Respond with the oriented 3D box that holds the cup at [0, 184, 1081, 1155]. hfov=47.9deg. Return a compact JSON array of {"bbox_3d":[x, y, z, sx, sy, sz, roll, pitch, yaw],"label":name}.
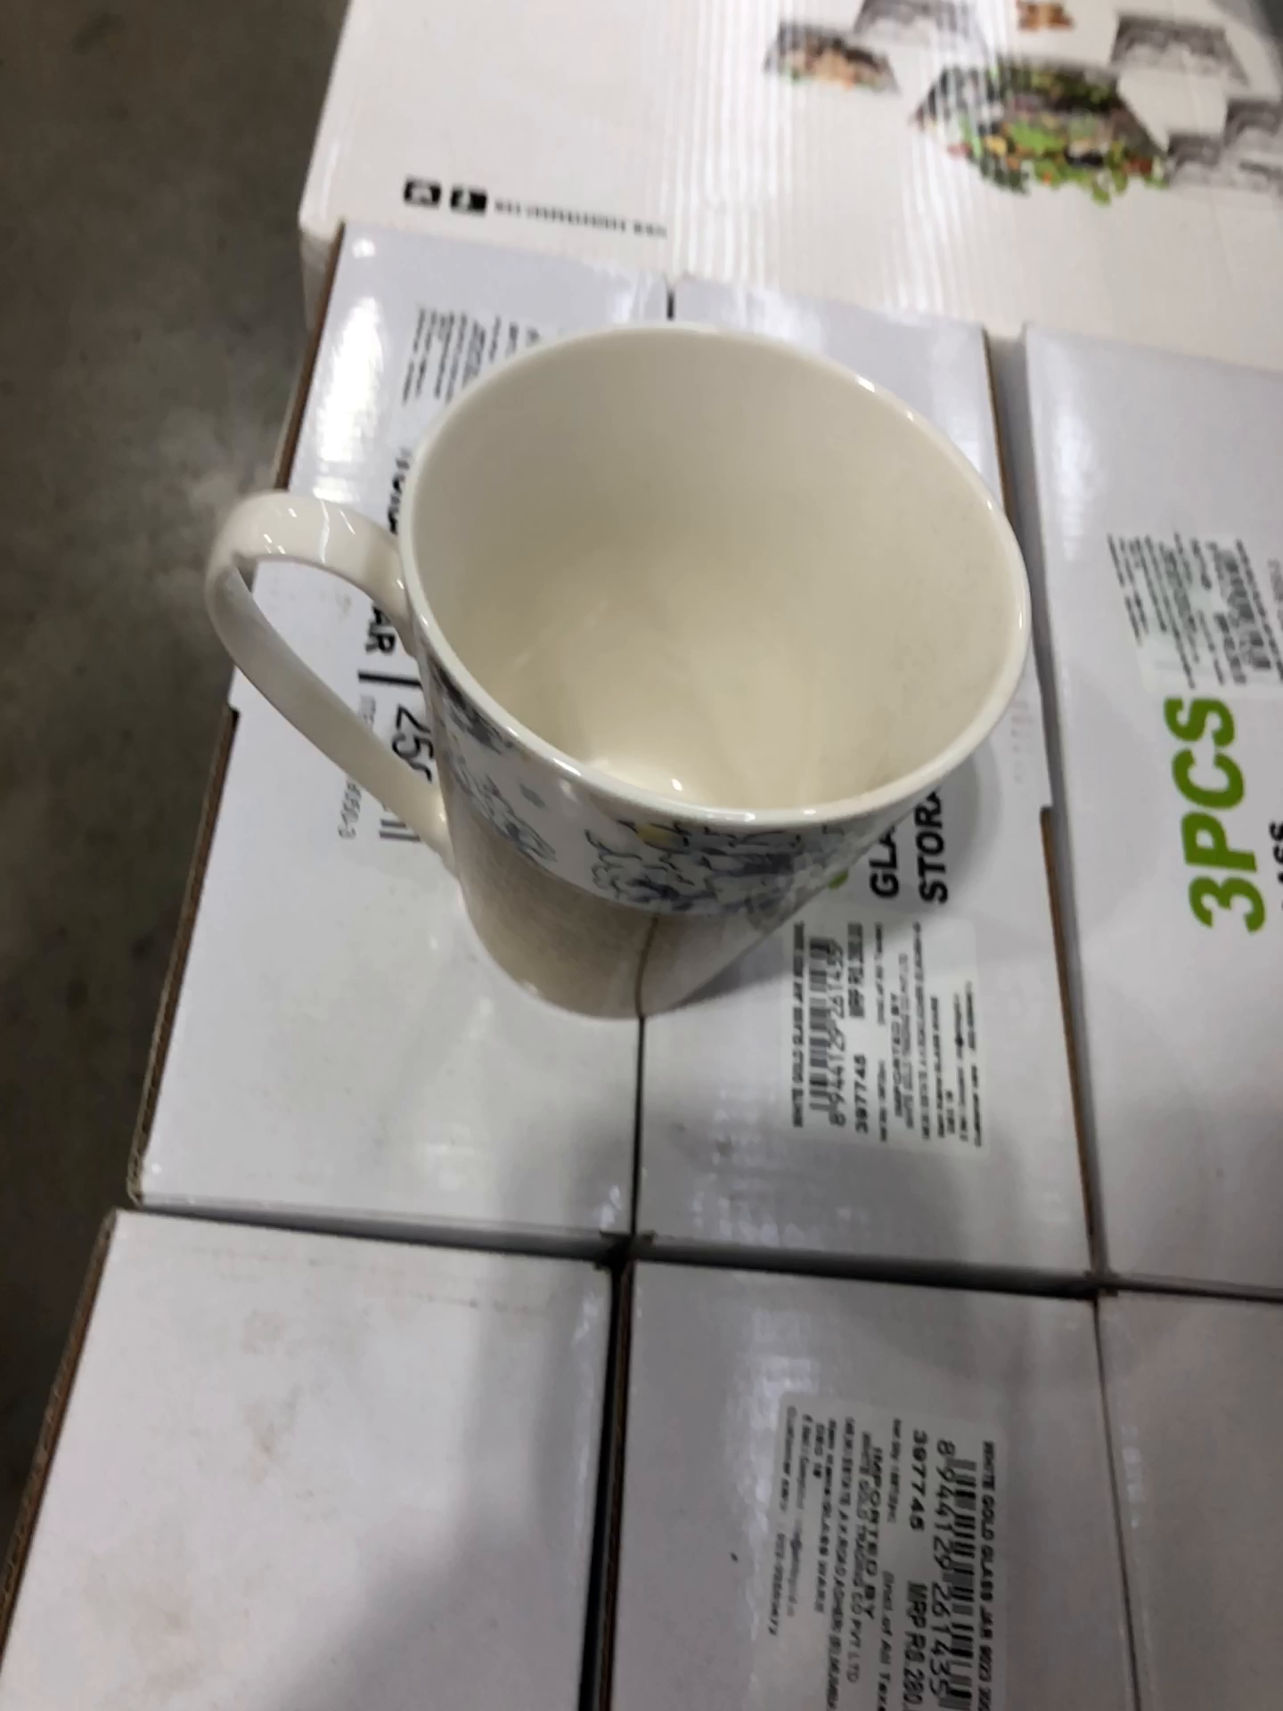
[{"bbox_3d":[-0.012,-0.023,0.238,0.130,0.100,0.090,13,60,-1],"label":"cup"}]
